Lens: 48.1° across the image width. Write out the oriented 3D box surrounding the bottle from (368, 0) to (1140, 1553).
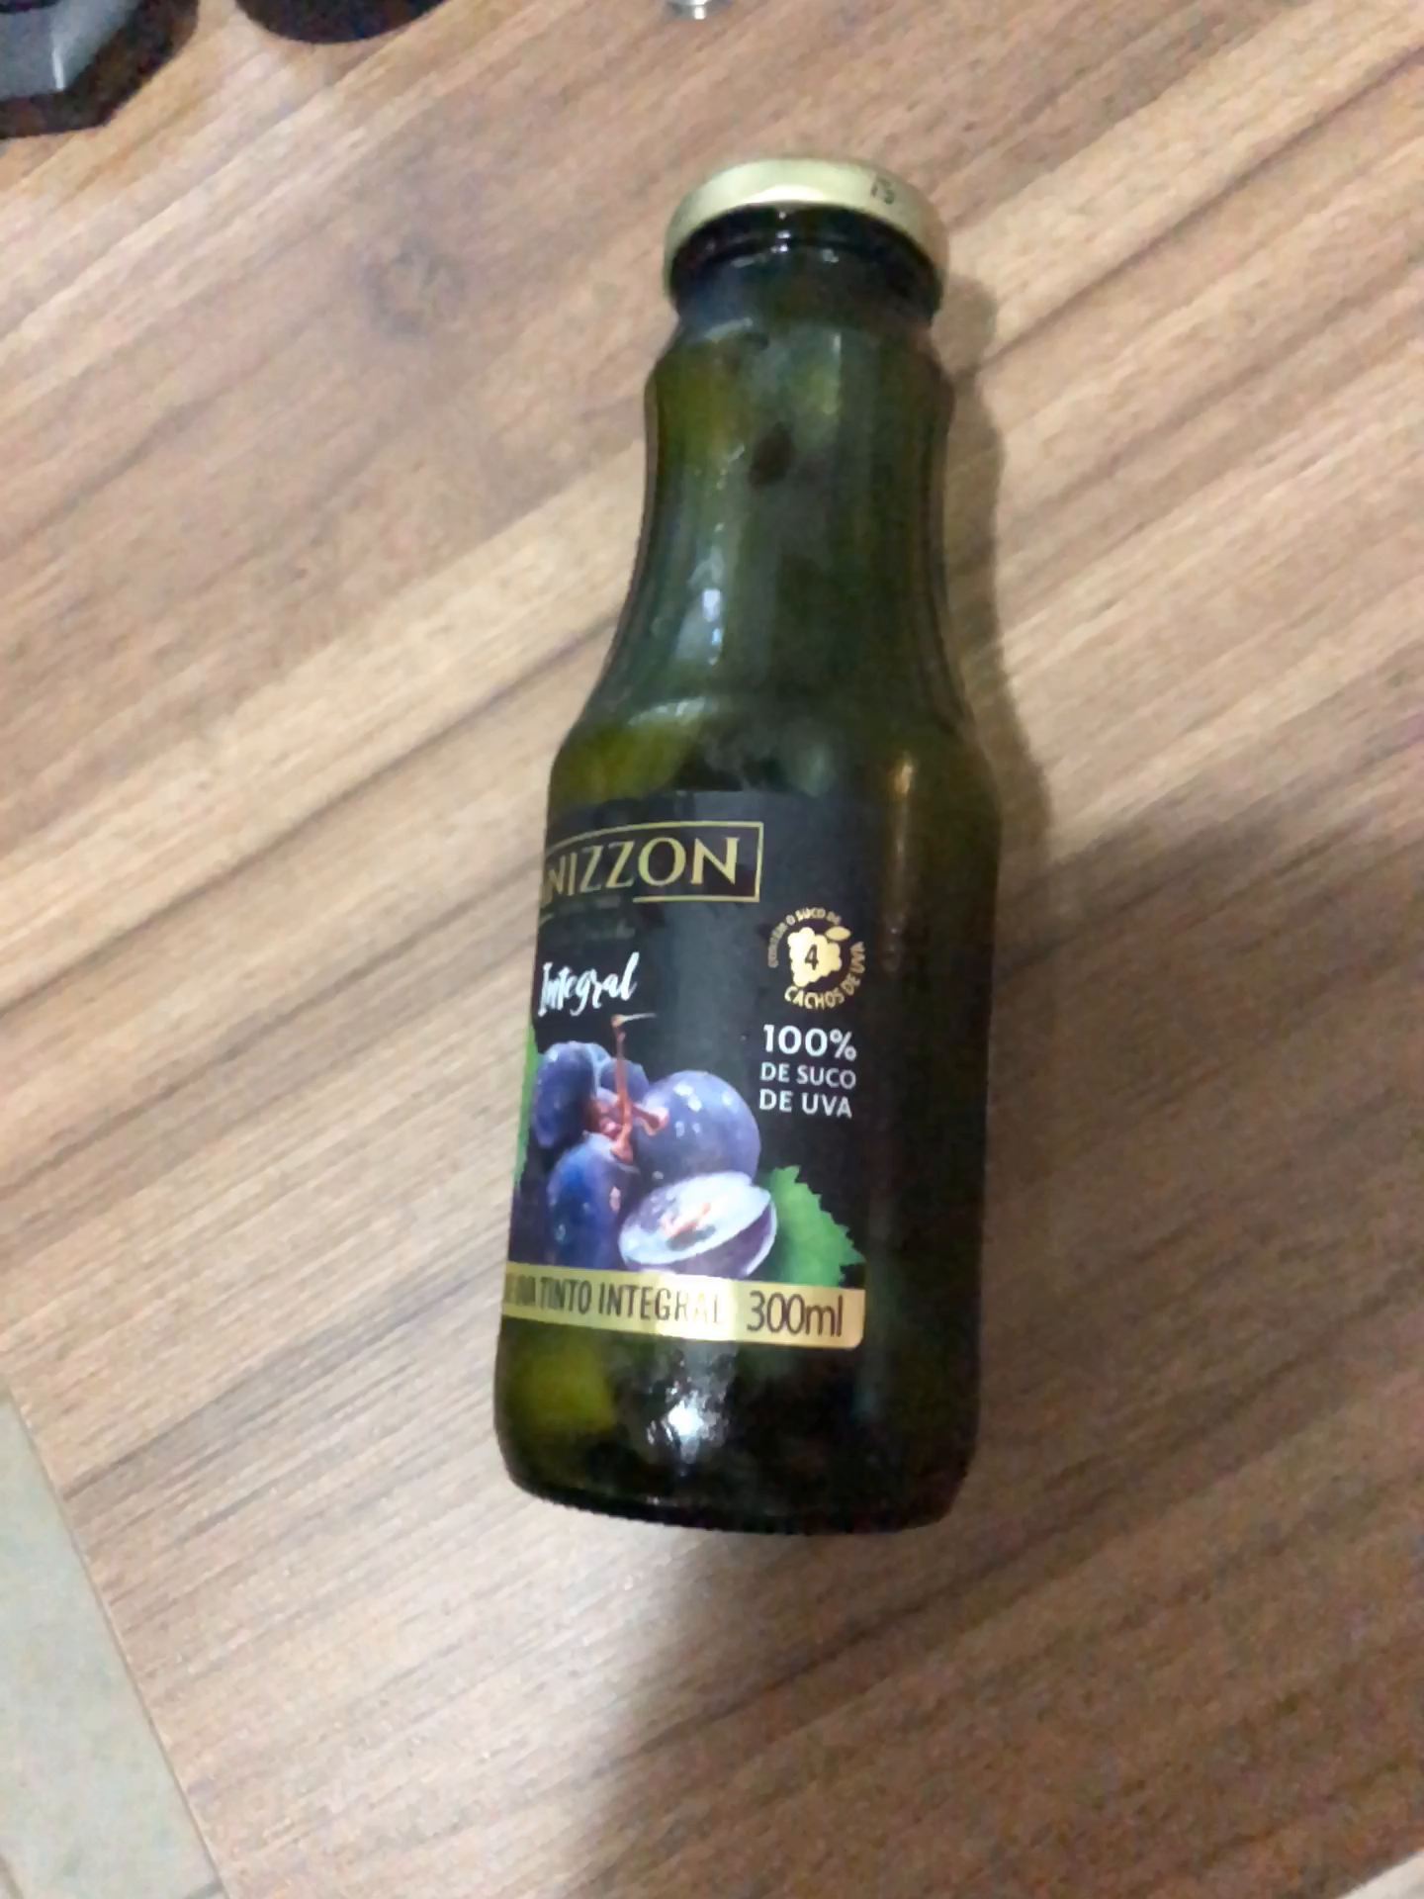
[{"bbox_3d":[0.009,-0.028,0.230,0.070,0.070,0.200,-8,75,49],"label":"bottle"}]
